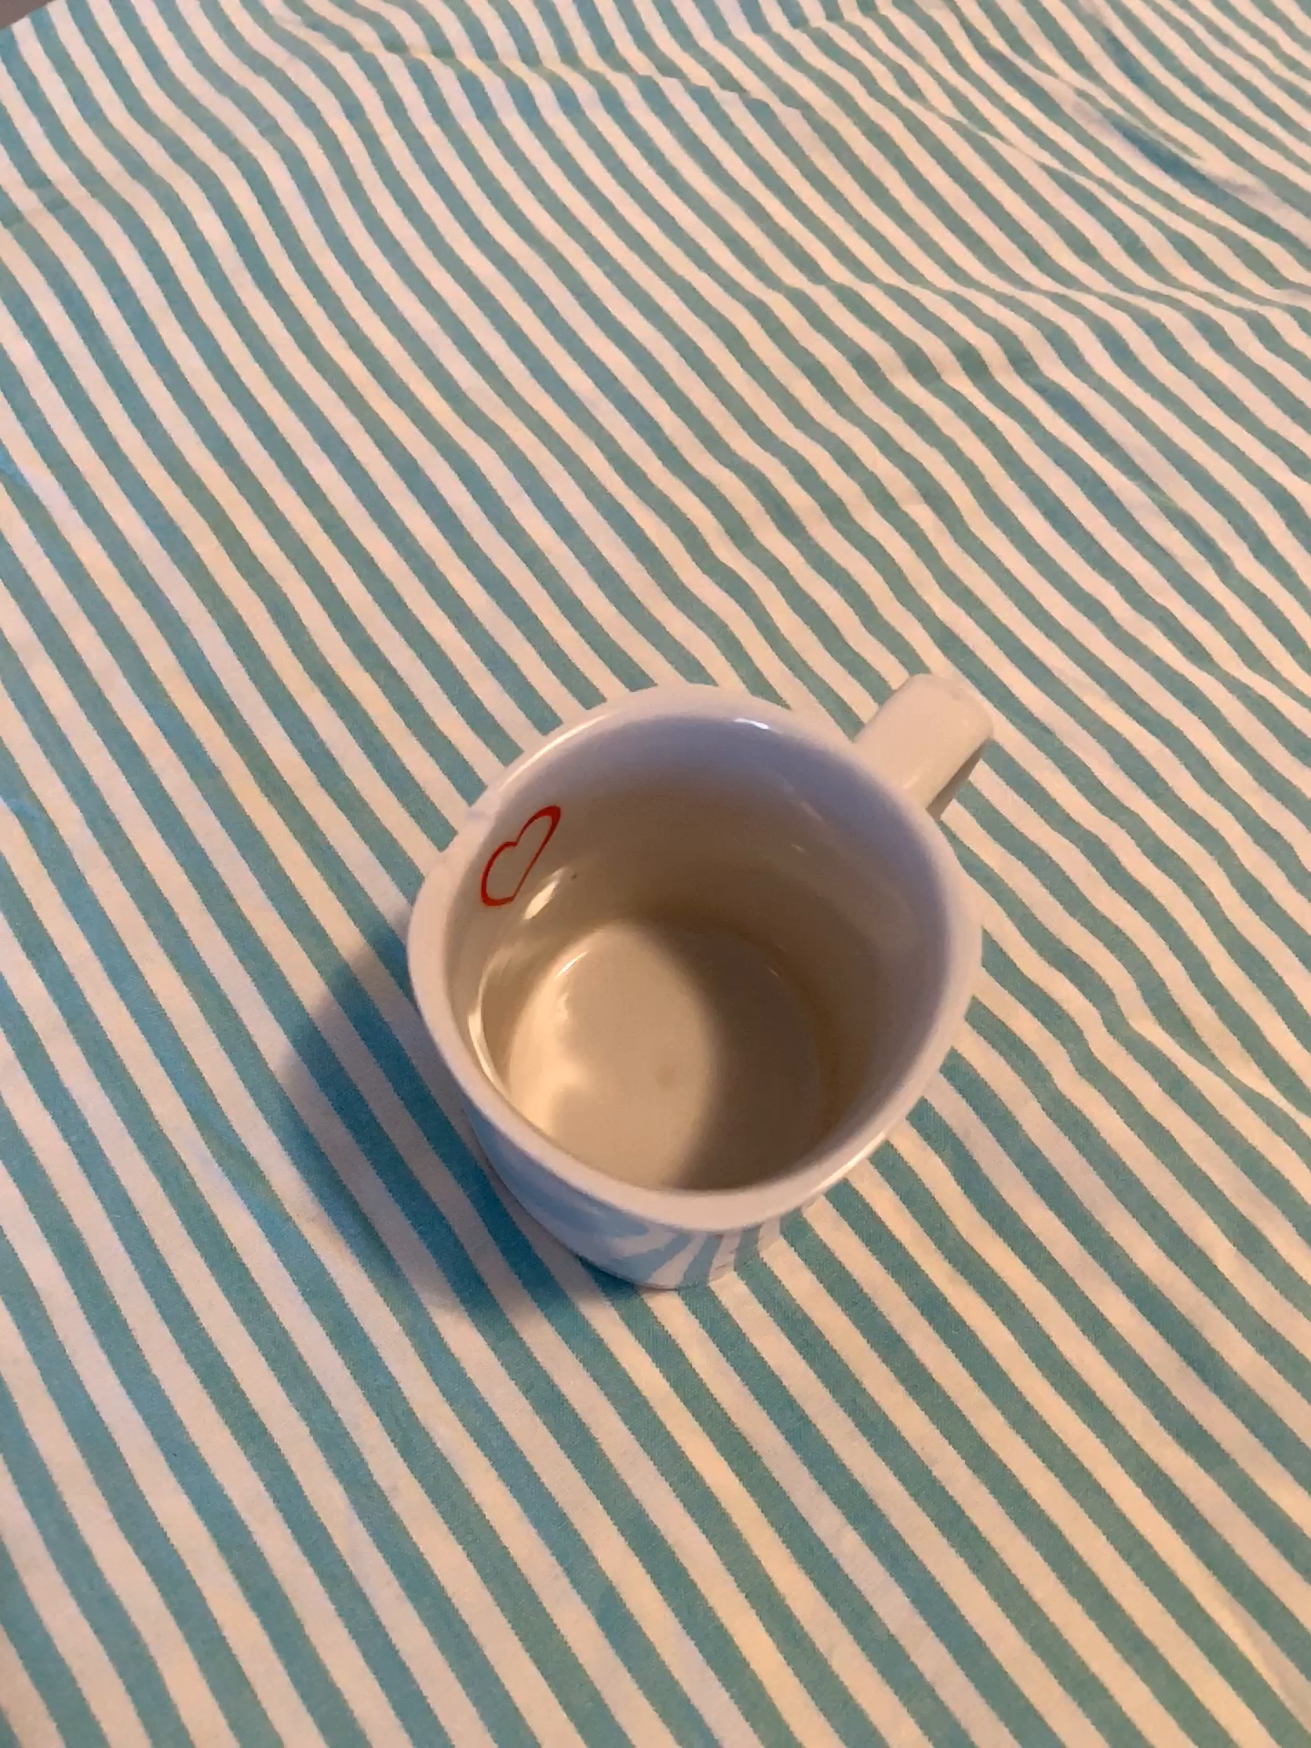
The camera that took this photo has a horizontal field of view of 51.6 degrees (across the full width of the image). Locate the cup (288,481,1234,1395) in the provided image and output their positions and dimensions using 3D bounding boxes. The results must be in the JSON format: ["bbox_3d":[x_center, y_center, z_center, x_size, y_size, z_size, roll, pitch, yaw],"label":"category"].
[{"bbox_3d":[0.015,0.014,0.217,0.110,0.080,0.070,-41,74,-19],"label":"cup"}]
